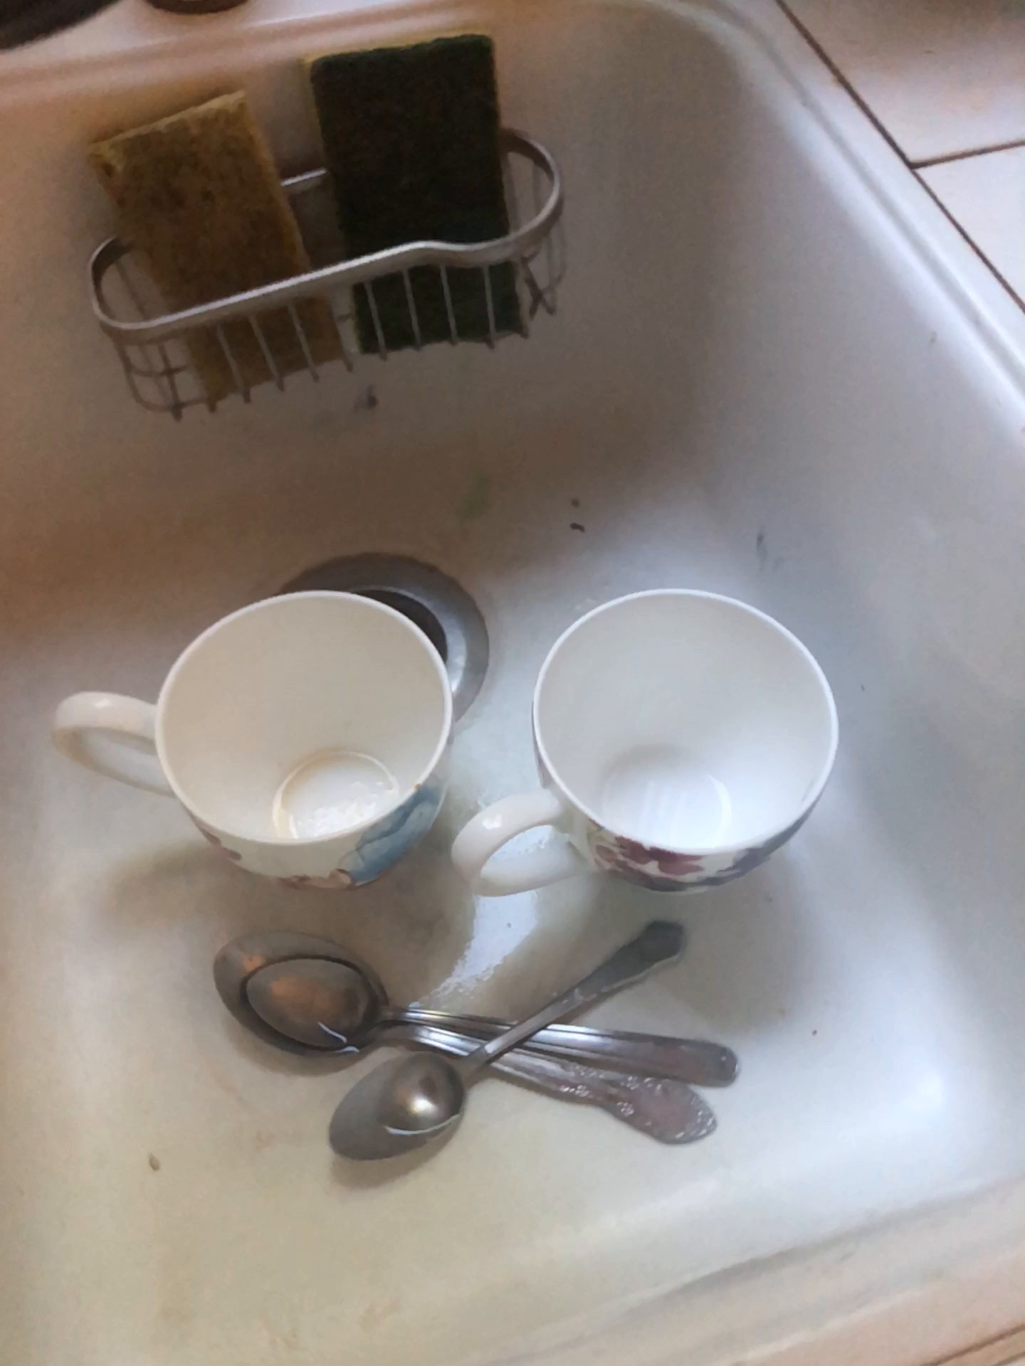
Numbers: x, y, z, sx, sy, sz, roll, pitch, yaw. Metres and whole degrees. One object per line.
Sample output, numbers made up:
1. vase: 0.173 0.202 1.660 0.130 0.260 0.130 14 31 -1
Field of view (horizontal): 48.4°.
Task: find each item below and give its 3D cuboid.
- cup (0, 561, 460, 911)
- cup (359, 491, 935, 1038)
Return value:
1. cup: -0.091 0.019 0.398 0.140 0.070 0.101 0 58 0
2. cup: 0.044 0.024 0.397 0.150 0.070 0.110 -32 64 -18
